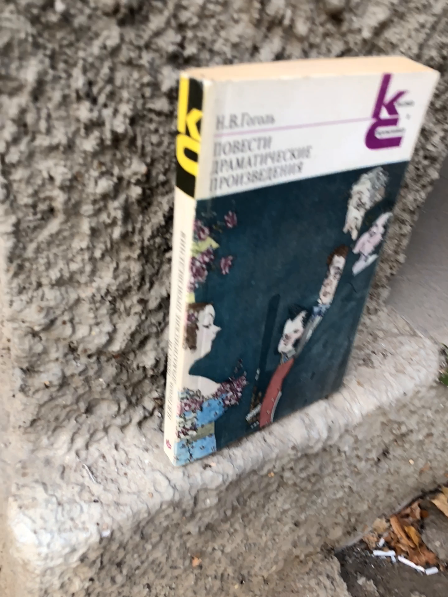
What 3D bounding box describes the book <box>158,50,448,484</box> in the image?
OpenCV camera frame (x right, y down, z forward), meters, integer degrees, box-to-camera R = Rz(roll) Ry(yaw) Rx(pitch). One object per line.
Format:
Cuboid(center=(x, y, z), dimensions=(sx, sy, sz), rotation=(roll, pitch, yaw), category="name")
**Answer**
Cuboid(center=(0.036, -0.014, 0.243), dimensions=(0.138, 0.190, 0.030), rotation=(-19, 40, -34), category="book")
